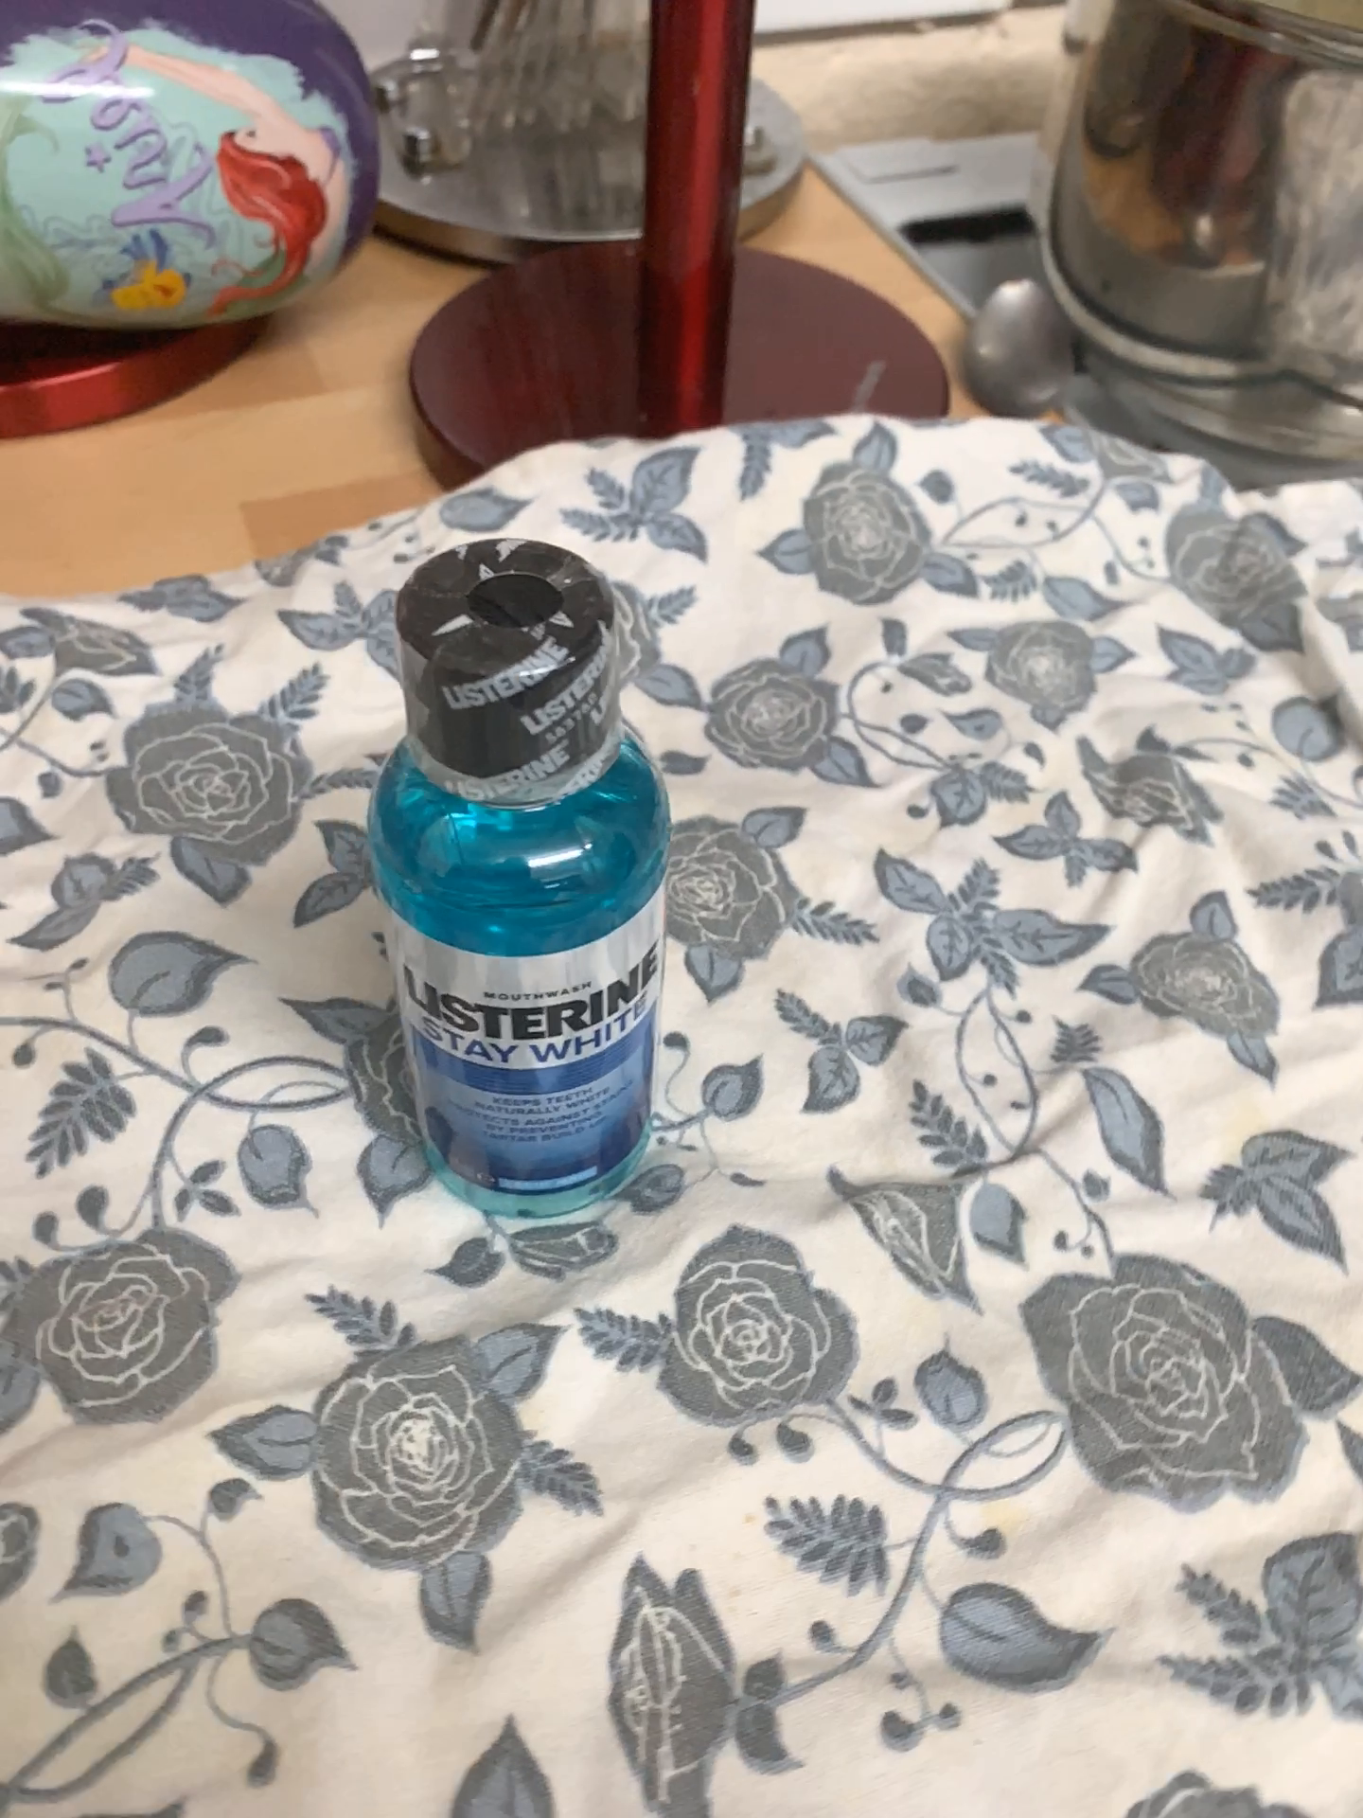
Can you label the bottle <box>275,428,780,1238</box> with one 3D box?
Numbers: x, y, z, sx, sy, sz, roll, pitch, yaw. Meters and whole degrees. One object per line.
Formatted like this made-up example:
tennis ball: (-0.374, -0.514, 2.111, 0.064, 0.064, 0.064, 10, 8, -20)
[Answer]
bottle: (-0.017, -0.004, 0.204, 0.050, 0.109, 0.050, 2, 50, -2)
